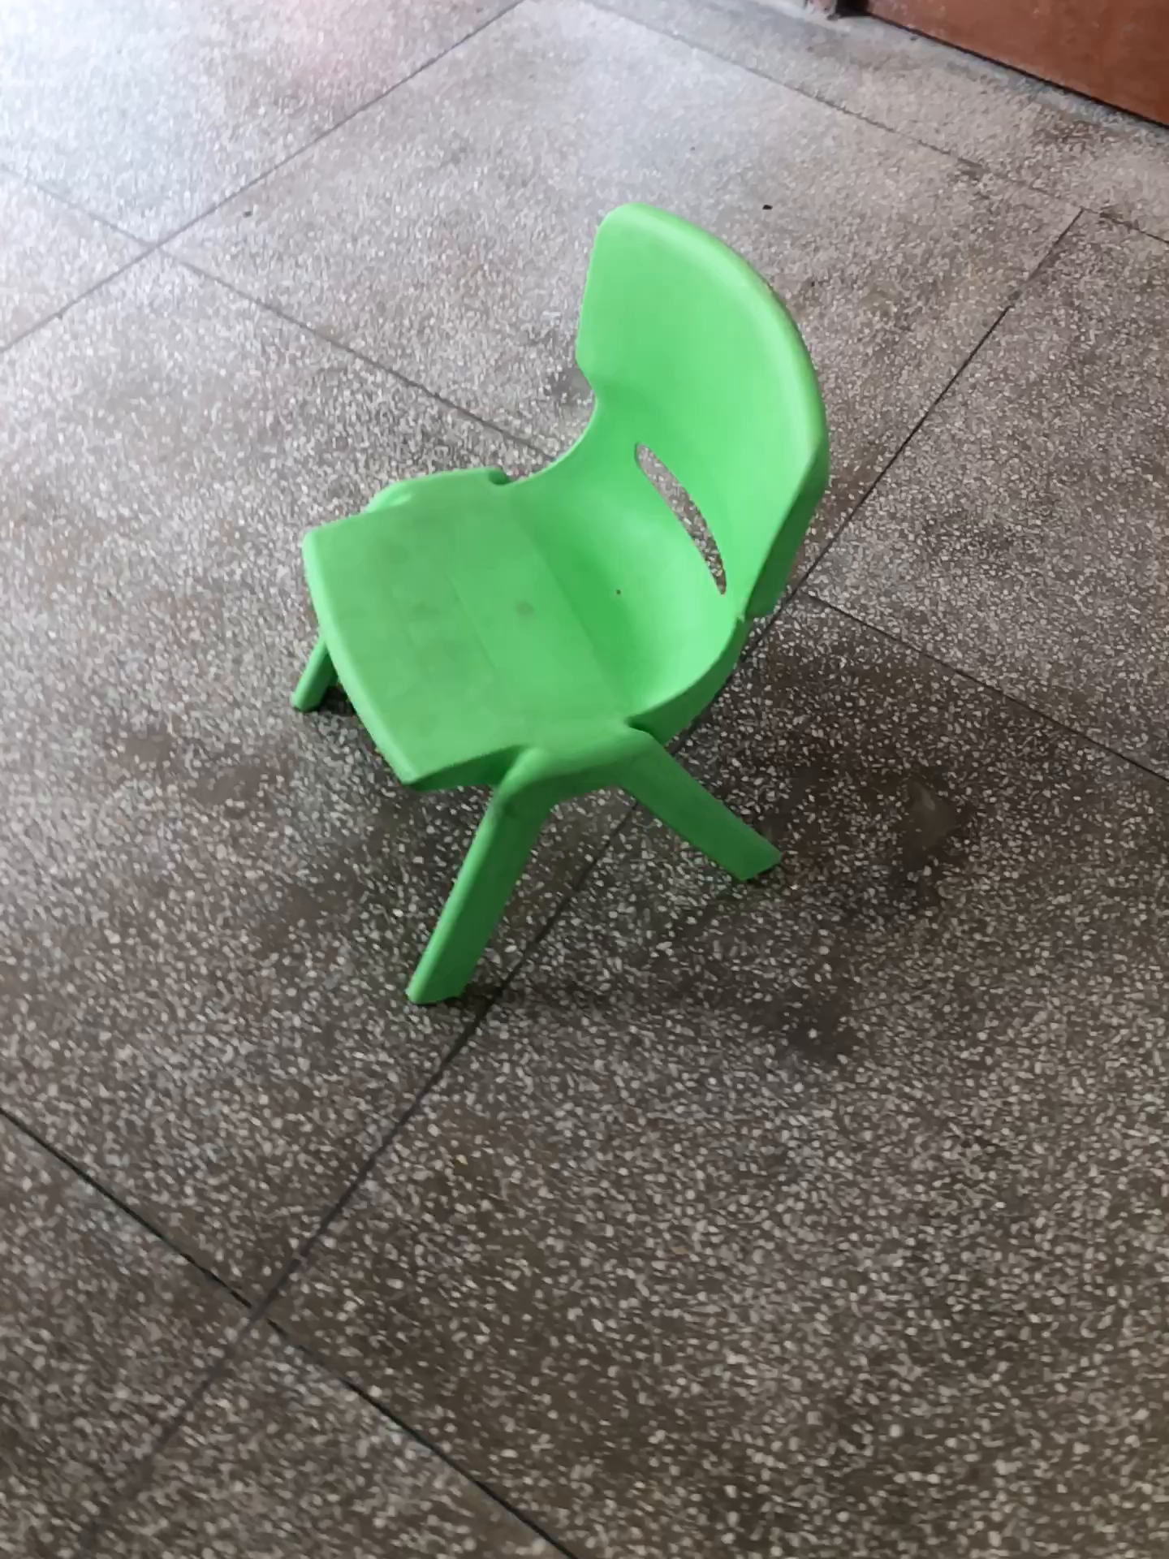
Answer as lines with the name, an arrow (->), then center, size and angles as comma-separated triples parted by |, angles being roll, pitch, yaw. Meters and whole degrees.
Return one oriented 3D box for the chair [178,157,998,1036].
chair -> -0.026, -0.125, 0.985 | 0.390, 0.459, 0.371 | -18, 60, -17
